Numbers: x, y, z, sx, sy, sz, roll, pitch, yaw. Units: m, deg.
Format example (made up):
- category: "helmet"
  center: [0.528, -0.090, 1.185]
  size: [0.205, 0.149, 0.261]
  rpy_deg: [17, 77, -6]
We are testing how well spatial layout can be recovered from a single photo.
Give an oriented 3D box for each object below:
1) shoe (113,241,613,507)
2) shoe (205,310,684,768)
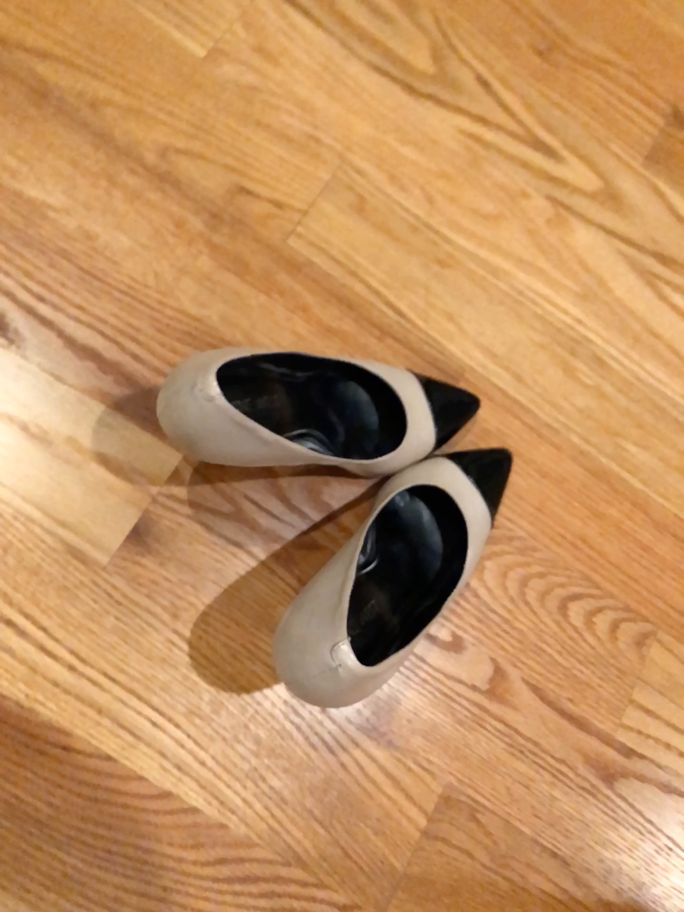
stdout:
- category: "shoe"
  center: [0.001, -0.042, 0.423]
  size: [0.235, 0.139, 0.085]
  rpy_deg: [-8, 79, -19]
- category: "shoe"
  center: [0.053, 0.041, 0.418]
  size: [0.235, 0.139, 0.085]
  rpy_deg: [-39, 90, -22]
